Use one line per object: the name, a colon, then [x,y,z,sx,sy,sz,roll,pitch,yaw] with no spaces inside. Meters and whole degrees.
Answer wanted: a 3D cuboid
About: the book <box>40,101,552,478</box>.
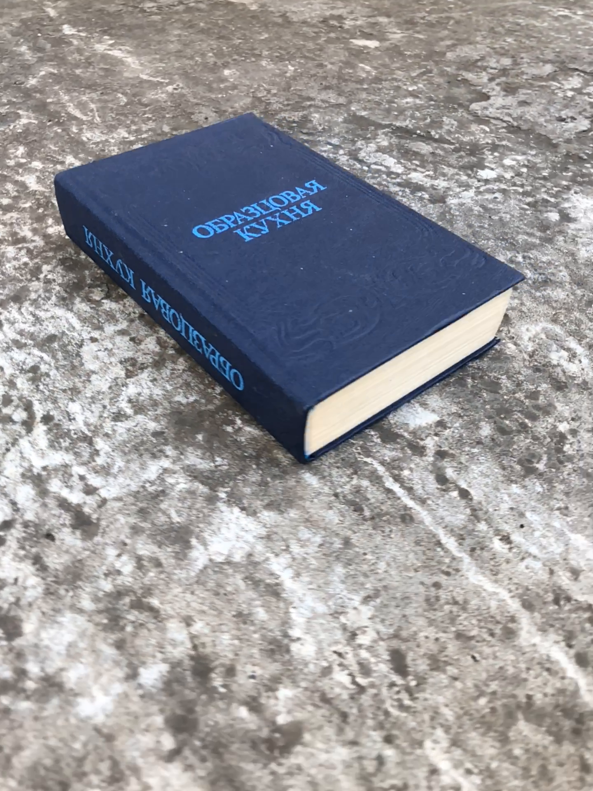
book: [-0.010,-0.073,0.324,0.140,0.040,0.210,-29,54,-28]
